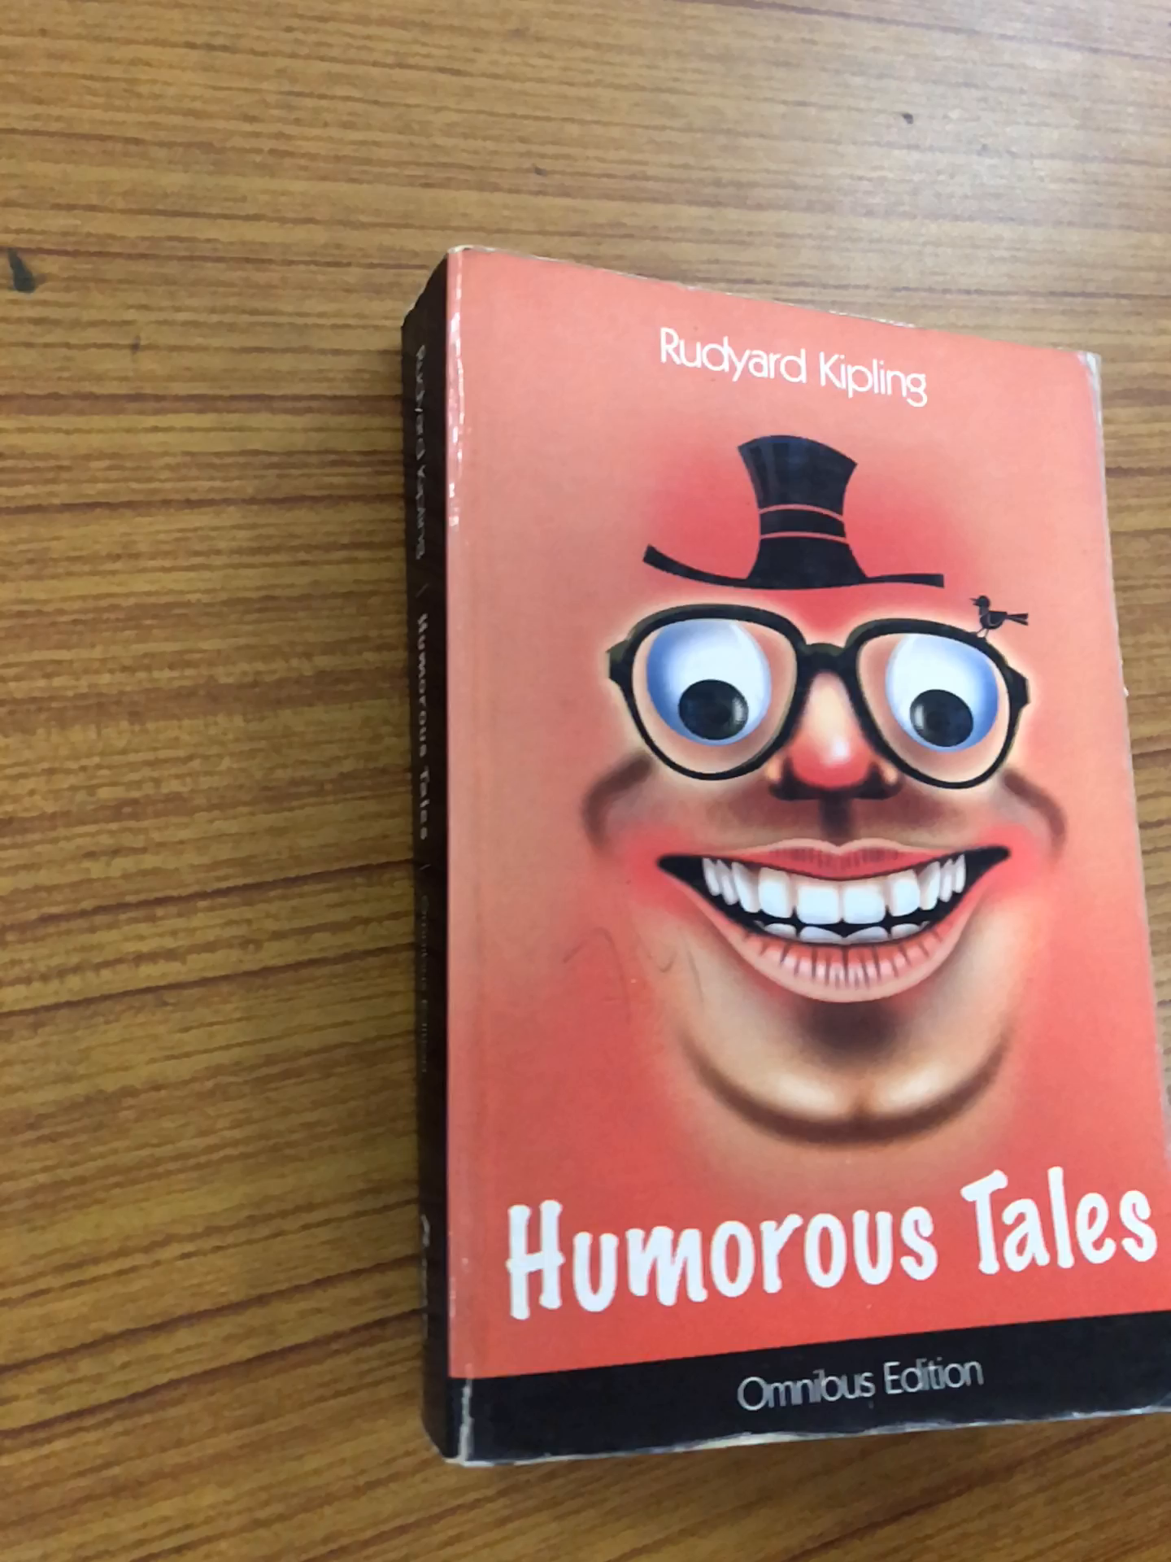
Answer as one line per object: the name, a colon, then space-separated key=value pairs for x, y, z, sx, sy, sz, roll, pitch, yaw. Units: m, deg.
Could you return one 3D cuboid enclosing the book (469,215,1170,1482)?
book: x=0.047 y=0.007 z=0.228 sx=0.130 sy=0.040 sz=0.190 roll=1 pitch=80 yaw=-12
